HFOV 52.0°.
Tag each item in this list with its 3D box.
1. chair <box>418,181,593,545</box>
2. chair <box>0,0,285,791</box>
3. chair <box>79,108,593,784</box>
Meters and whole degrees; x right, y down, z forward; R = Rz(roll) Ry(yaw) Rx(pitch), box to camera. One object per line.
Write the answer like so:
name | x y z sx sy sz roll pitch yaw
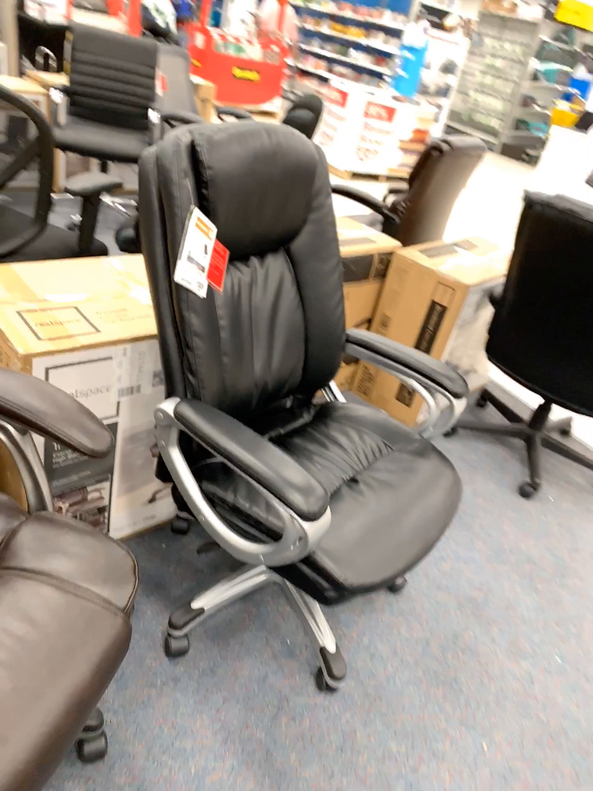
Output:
chair | 1.063 -0.183 2.191 0.665 0.927 0.840 32 35 27
chair | -0.629 0.211 0.748 0.787 1.046 0.758 24 32 15
chair | 0.047 0.053 1.299 0.657 1.056 0.677 30 34 25
